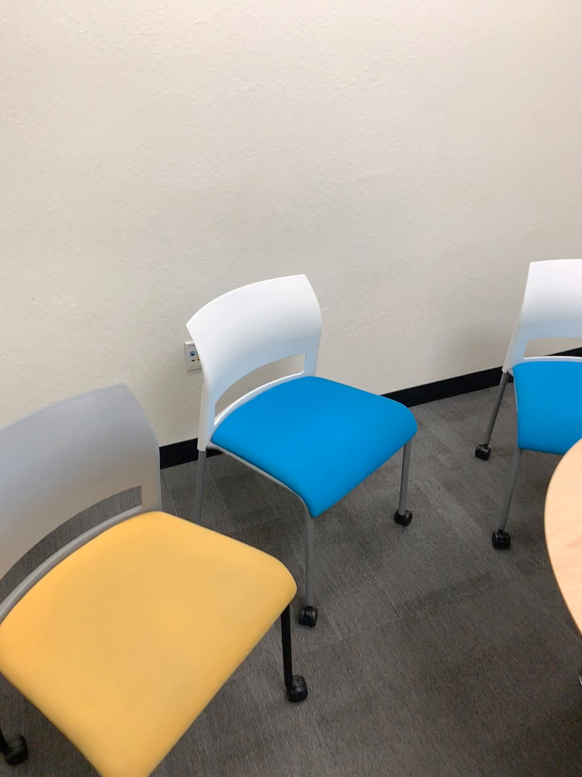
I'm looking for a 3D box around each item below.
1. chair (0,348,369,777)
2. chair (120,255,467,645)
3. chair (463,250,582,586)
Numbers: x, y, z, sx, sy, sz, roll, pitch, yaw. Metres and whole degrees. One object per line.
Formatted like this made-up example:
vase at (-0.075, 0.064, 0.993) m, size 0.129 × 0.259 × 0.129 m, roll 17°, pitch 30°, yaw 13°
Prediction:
chair at (-0.311, 0.447, 1.262) m, size 0.692 × 0.716 × 0.642 m, roll 19°, pitch 37°, yaw 30°
chair at (0.013, 0.119, 1.807) m, size 0.693 × 0.755 × 0.641 m, roll 25°, pitch 40°, yaw 36°
chair at (1.014, 0.051, 1.935) m, size 0.751 × 0.765 × 0.694 m, roll 5°, pitch 32°, yaw 10°
